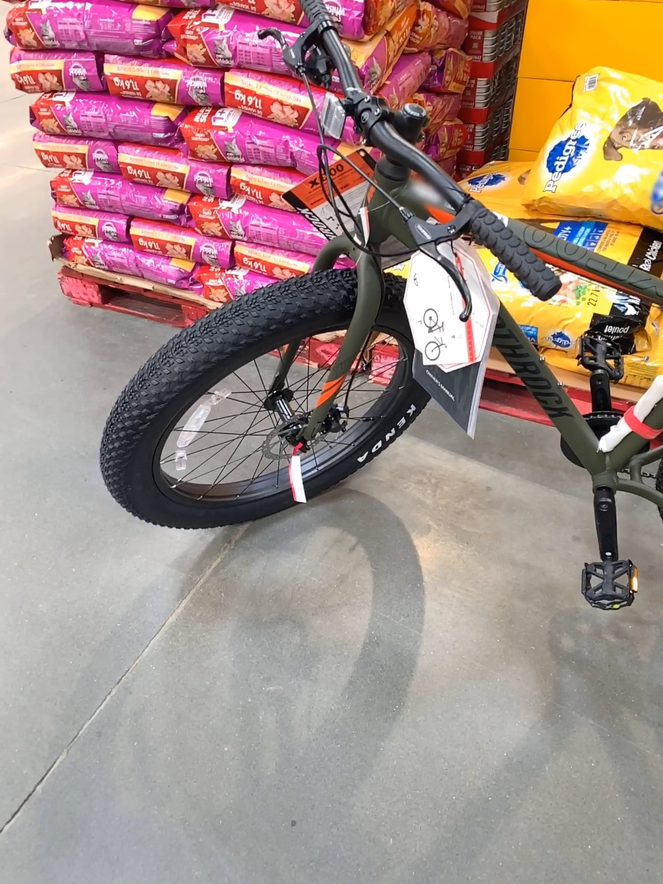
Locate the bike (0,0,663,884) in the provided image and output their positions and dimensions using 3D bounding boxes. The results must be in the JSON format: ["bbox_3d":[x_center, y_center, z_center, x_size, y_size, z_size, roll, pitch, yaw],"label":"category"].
[{"bbox_3d":[0.480,0.022,0.805,1.712,1.203,0.595,2,40,-8],"label":"bike"}]
